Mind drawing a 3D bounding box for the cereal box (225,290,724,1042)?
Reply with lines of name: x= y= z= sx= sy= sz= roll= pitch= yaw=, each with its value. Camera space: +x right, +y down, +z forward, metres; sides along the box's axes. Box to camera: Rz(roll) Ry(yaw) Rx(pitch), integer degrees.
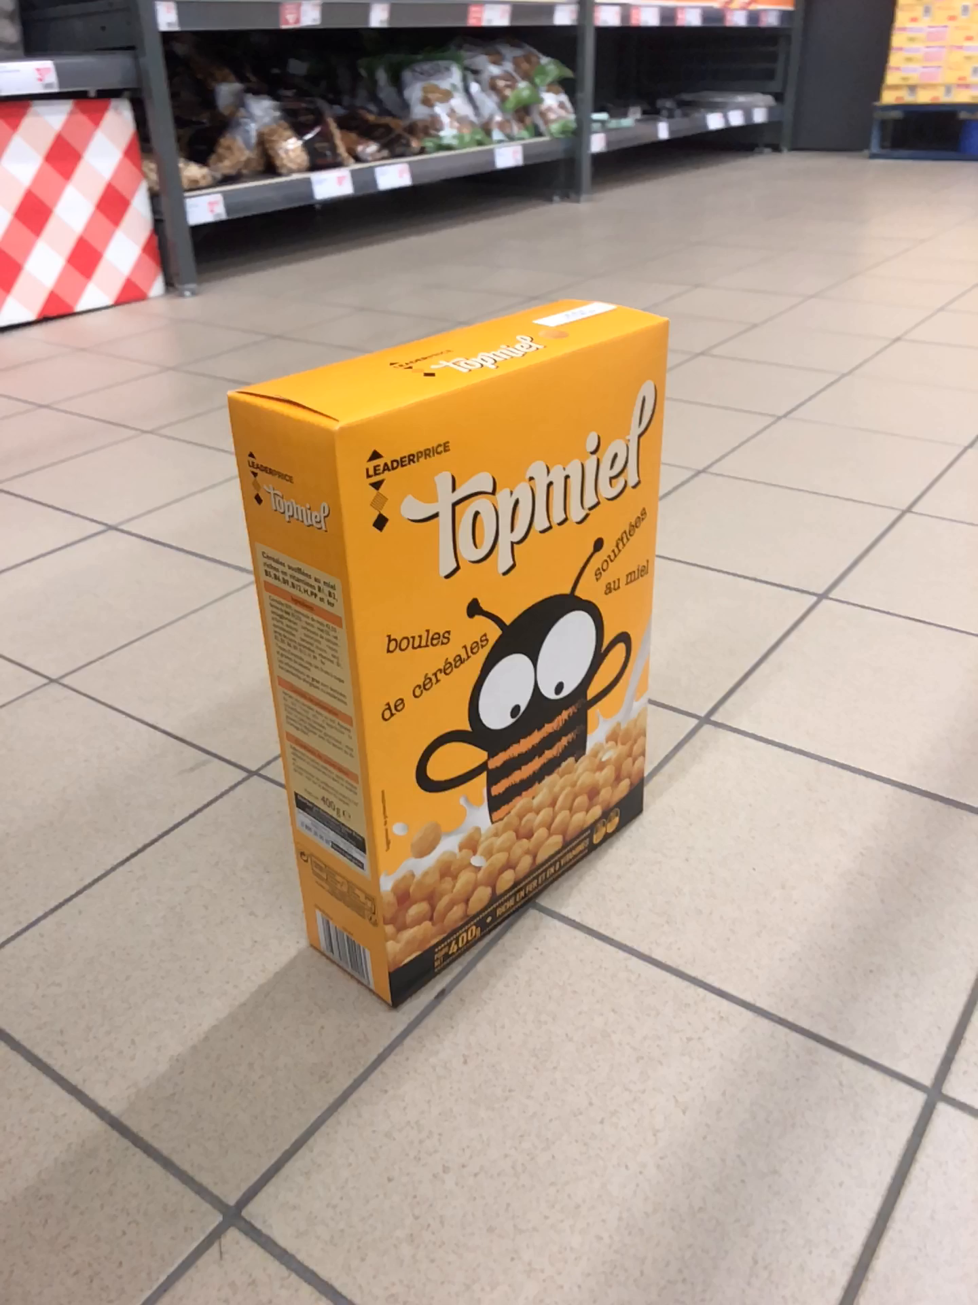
cereal box: x=0.009 y=-0.001 z=0.476 sx=0.060 sy=0.268 sz=0.211 roll=24 pitch=38 yaw=39
